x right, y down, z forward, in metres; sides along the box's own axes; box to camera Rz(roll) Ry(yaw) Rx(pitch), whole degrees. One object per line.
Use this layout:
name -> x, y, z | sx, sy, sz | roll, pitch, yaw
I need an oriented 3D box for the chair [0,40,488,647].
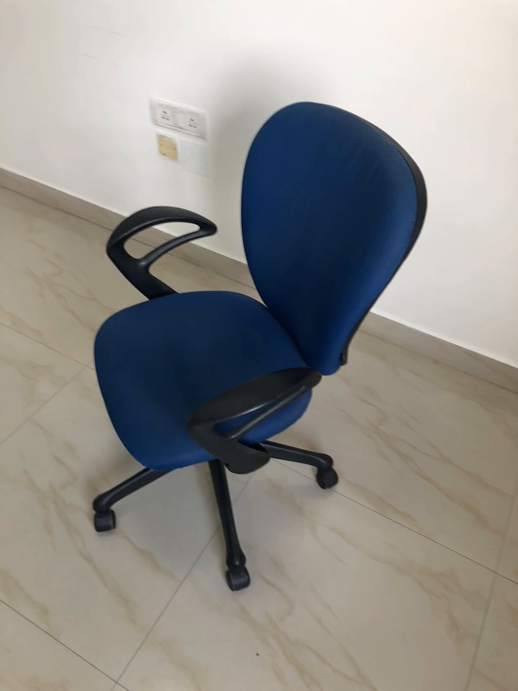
chair -> -0.119, -0.016, 1.241 | 0.652, 0.914, 0.703 | 36, 53, 28
